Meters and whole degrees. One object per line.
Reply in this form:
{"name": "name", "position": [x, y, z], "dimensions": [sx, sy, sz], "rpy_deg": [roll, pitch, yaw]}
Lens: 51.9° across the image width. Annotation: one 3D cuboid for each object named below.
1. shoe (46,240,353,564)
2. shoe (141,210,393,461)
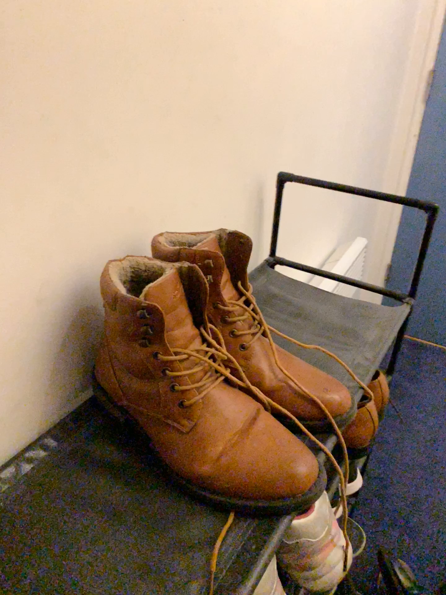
{"name": "shoe", "position": [-0.034, 0.084, 0.464], "dimensions": [0.271, 0.198, 0.111], "rpy_deg": [21, 35, 31]}
{"name": "shoe", "position": [0.042, 0.032, 0.531], "dimensions": [0.240, 0.198, 0.111], "rpy_deg": [17, 33, 25]}
